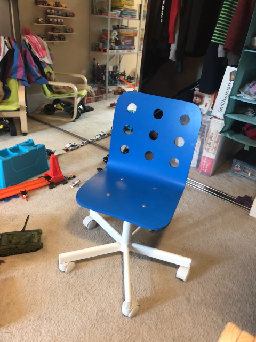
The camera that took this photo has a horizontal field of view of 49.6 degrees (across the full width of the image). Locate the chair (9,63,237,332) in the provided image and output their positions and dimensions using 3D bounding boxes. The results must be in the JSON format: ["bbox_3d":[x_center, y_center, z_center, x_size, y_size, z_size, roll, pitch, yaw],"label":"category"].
[{"bbox_3d":[-0.011,0.066,0.922,0.520,0.705,0.363,12,29,12],"label":"chair"}]
